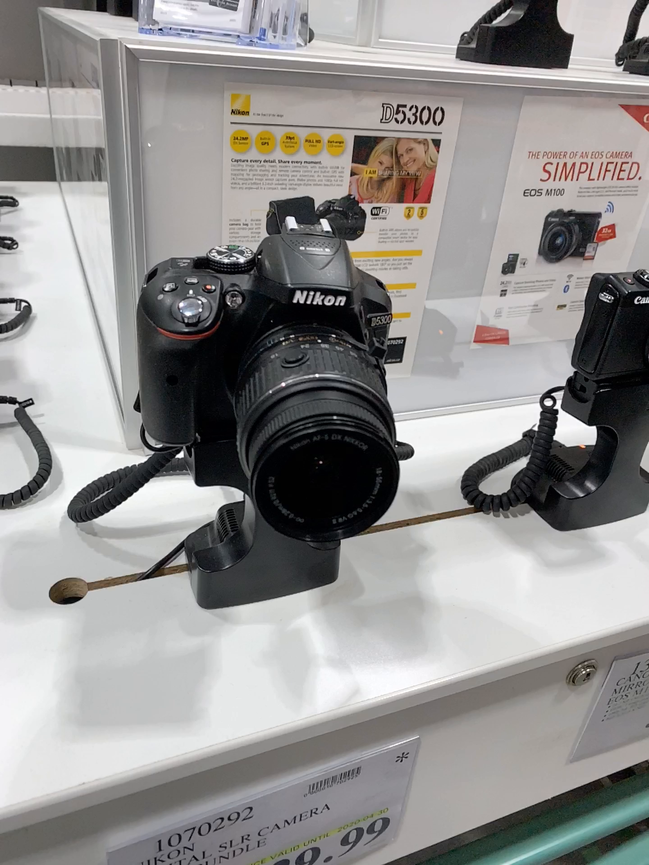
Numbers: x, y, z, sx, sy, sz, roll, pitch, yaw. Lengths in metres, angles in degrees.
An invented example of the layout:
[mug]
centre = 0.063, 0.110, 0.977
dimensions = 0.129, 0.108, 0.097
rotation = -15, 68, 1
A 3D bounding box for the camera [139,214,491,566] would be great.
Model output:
[camera]
centre = -0.018, -0.031, 0.312
dimensions = 0.120, 0.099, 0.151
rotation = -1, 31, -12
